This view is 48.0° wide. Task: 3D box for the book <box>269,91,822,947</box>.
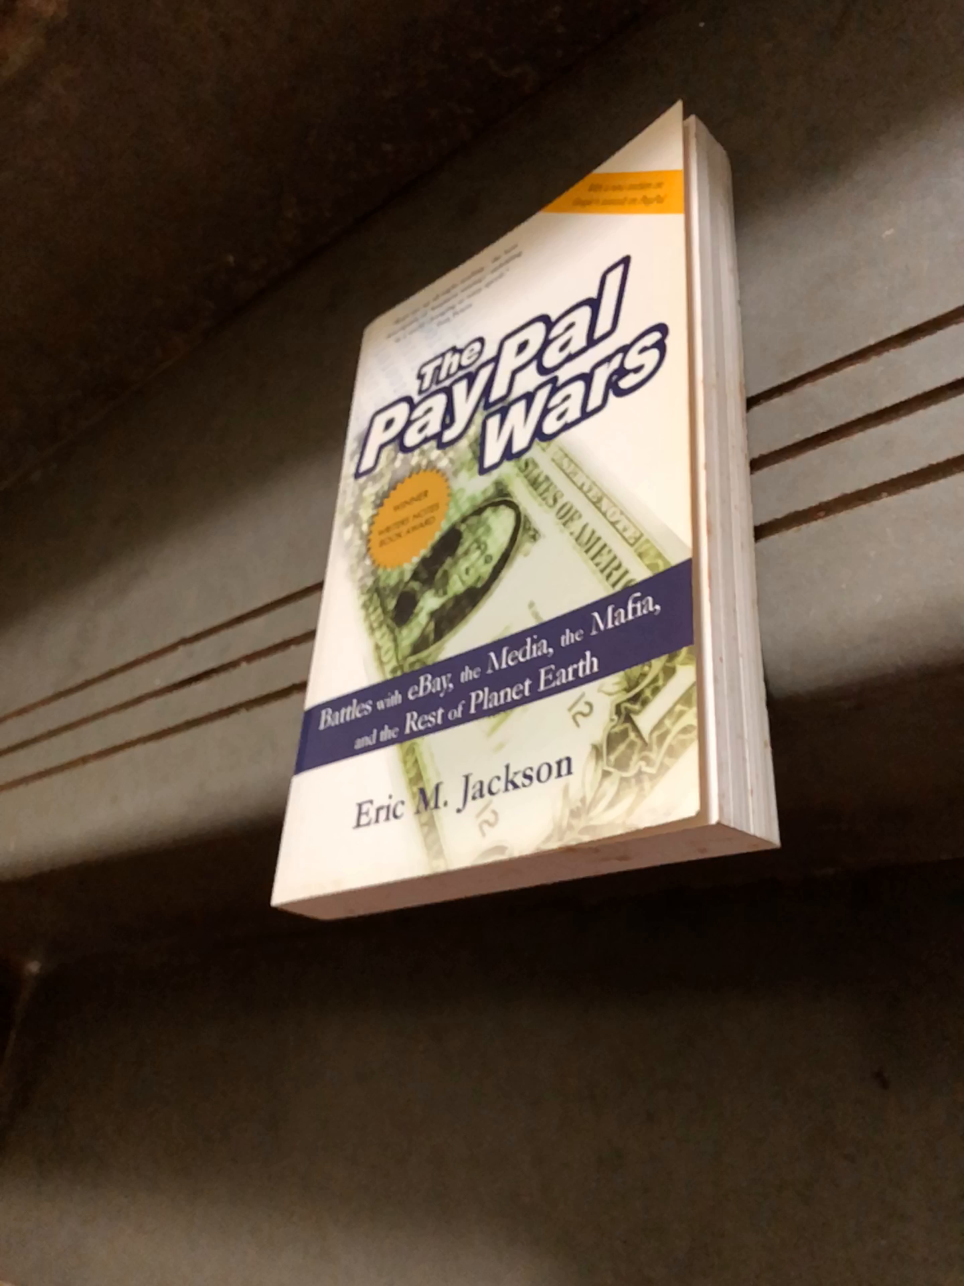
[{"bbox_3d":[0.013,-0.034,0.315,0.151,0.030,0.220,-21,54,39],"label":"book"}]
